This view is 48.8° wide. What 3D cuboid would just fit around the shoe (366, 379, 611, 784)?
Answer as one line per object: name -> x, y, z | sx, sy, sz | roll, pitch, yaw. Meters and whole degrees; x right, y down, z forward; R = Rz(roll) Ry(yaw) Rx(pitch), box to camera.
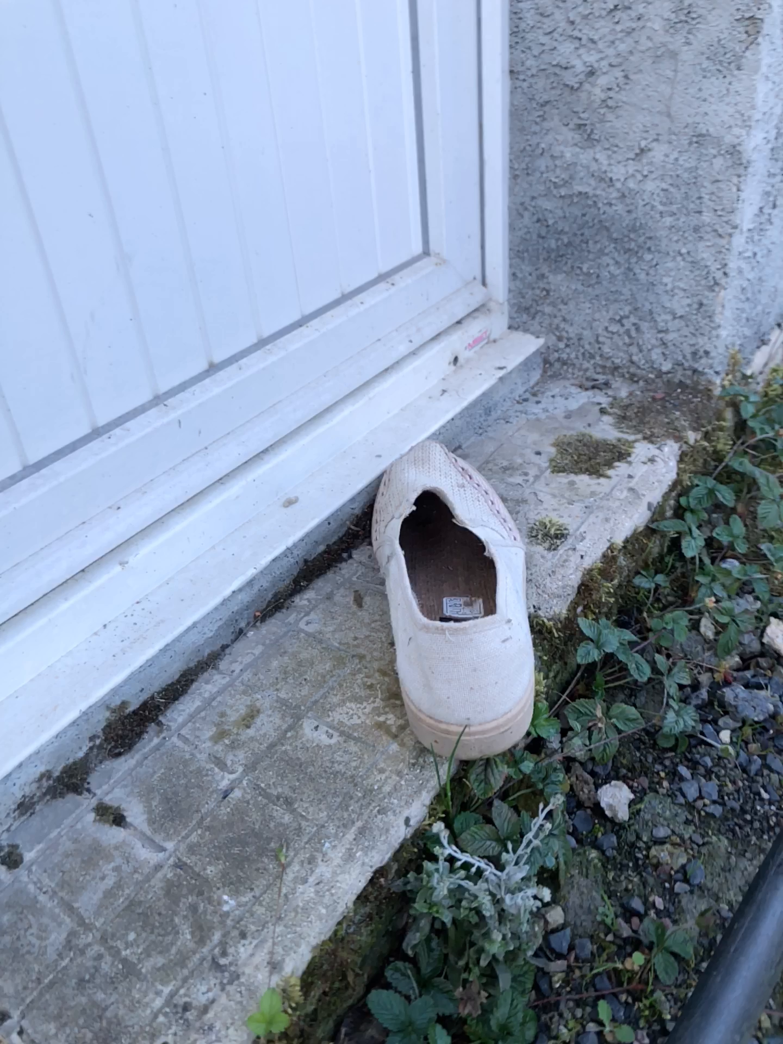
shoe -> 0.044, 0.015, 0.528 | 0.100, 0.080, 0.282 | -6, 35, -1
